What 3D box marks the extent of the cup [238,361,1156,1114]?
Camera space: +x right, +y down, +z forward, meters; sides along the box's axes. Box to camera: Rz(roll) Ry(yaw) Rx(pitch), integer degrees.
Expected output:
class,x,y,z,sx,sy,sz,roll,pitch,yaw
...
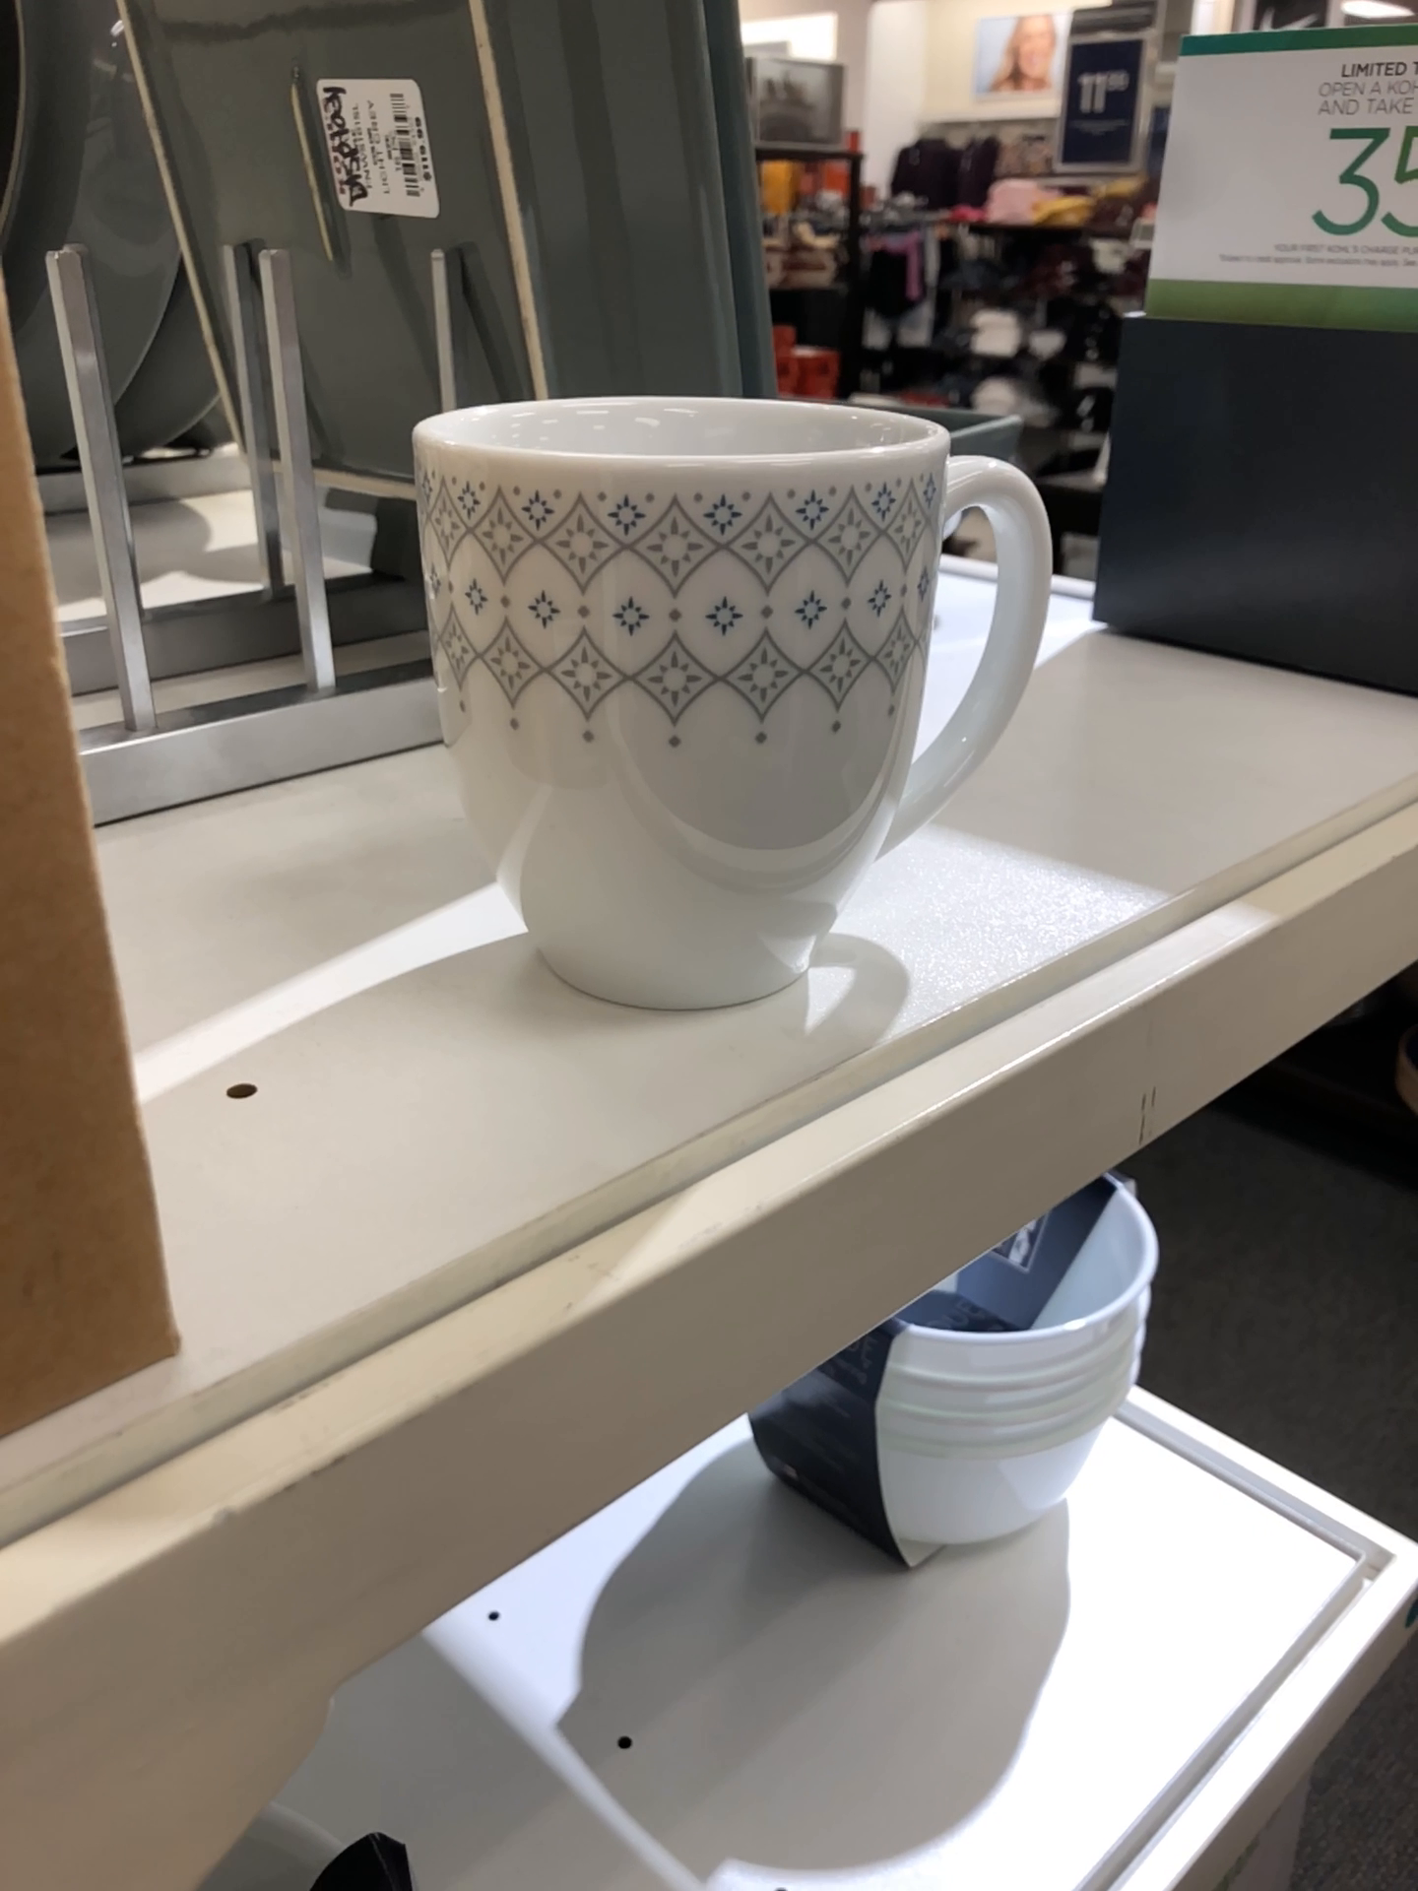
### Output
class,x,y,z,sx,sy,sz,roll,pitch,yaw
cup,-0.003,-0.052,0.311,0.136,0.099,0.099,-16,31,-28
